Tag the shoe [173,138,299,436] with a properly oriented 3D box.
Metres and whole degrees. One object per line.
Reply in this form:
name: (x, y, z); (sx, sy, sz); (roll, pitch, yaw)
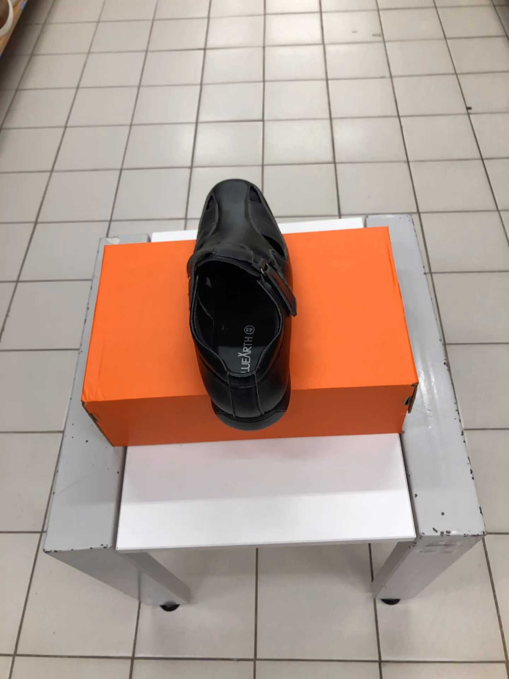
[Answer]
shoe: (-0.015, -0.064, 0.571); (0.100, 0.100, 0.301); (-3, 56, 2)
